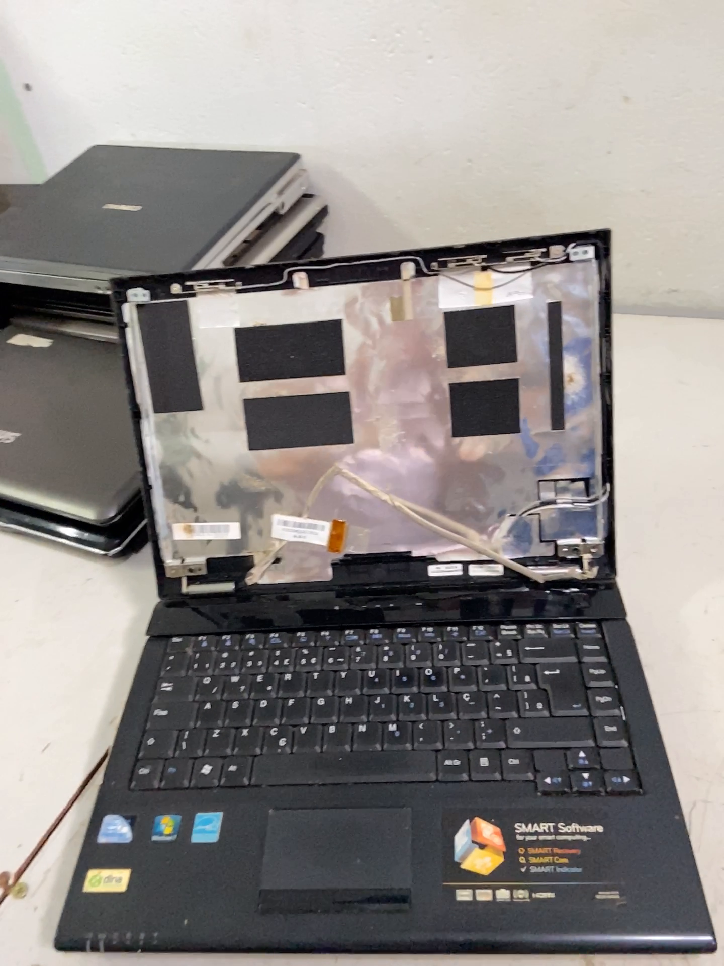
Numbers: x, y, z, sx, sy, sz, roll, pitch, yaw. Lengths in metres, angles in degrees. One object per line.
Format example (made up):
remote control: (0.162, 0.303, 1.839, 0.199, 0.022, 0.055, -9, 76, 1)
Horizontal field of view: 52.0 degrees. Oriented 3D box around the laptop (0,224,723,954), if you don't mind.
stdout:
laptop: (-0.001, 0.042, 0.428, 0.333, 0.205, 0.337, -4, 42, 8)
